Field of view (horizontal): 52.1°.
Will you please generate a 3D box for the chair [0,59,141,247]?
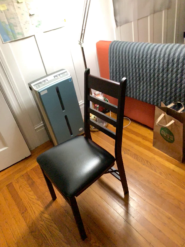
[{"bbox_3d":[-0.090,0.160,1.146,0.550,0.865,0.493,-33,39,-28],"label":"chair"}]
